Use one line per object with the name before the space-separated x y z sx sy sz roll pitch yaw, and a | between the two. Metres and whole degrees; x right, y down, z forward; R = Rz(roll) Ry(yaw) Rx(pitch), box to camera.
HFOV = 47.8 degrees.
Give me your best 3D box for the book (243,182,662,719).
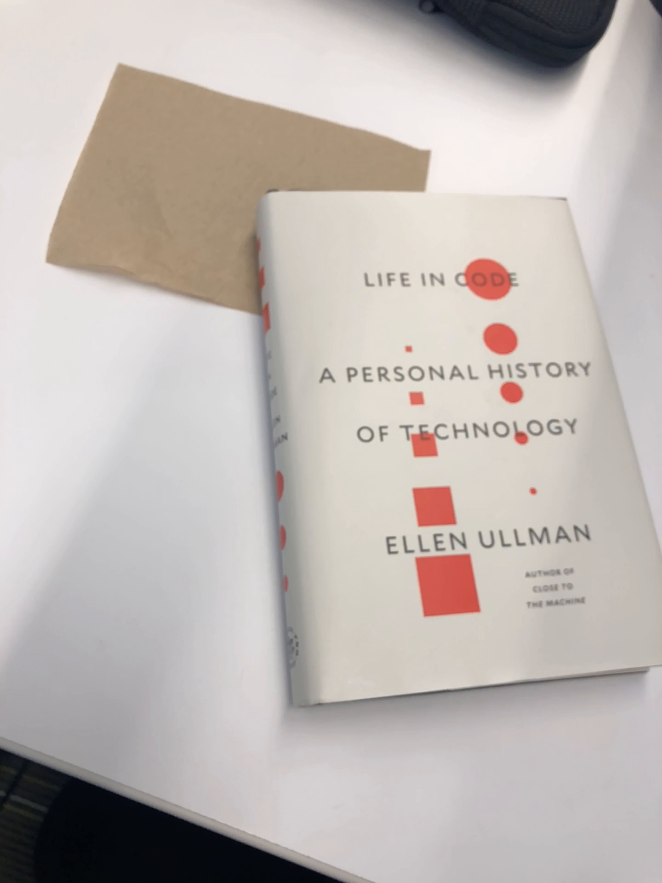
book | 0.050 -0.008 0.315 0.160 0.030 0.220 -1 68 -11
